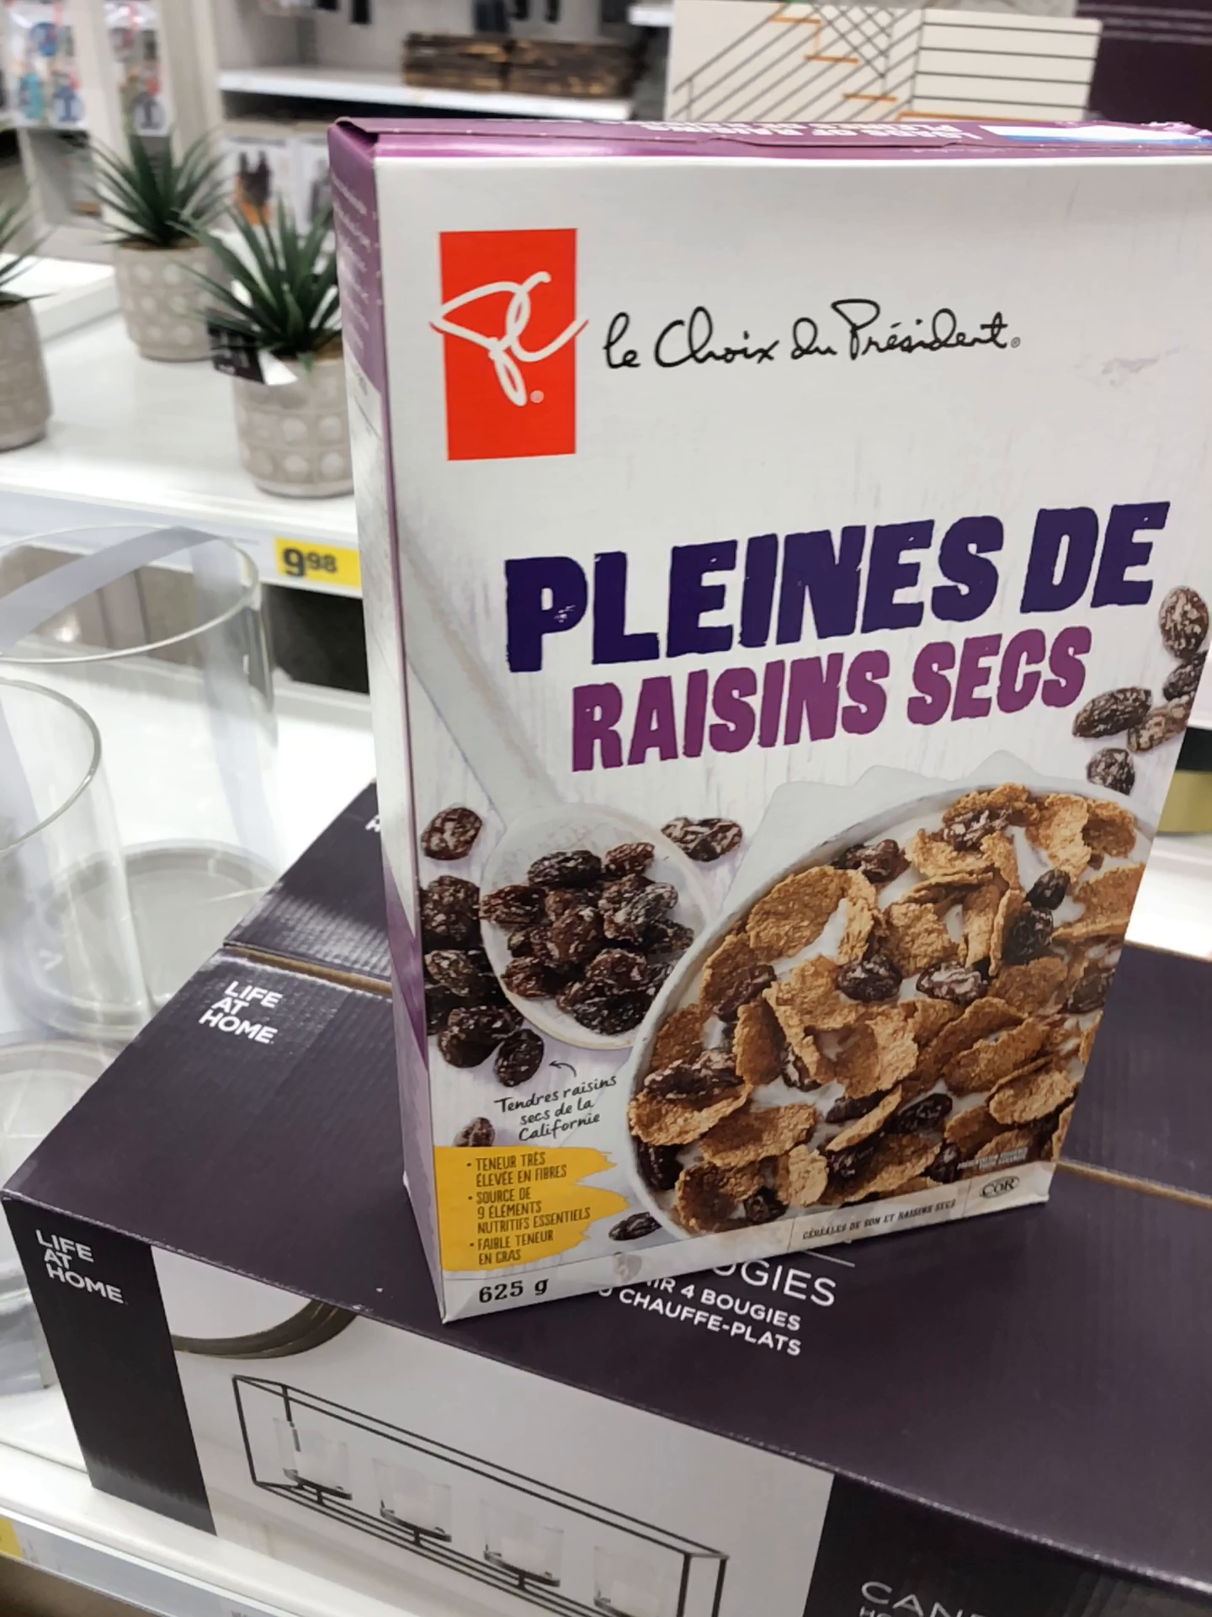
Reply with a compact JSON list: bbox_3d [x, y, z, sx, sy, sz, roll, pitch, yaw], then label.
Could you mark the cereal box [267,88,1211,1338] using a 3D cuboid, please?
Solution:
[{"bbox_3d":[0.036,-0.006,0.335,0.200,0.299,0.060,-7,35,-13],"label":"cereal box"}]
